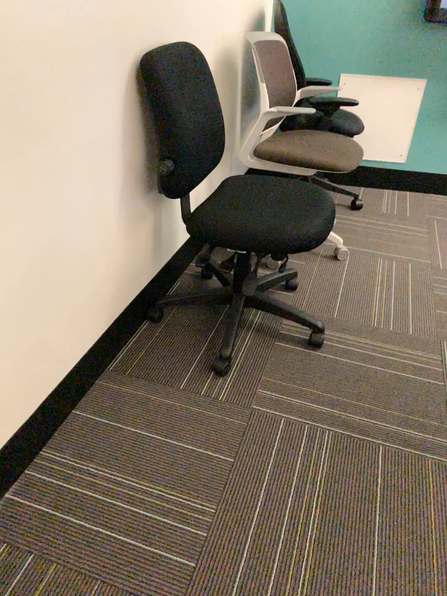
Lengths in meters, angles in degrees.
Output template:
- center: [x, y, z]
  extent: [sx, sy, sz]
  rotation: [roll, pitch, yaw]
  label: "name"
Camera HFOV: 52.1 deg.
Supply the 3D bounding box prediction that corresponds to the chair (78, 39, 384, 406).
- center: [0.064, -0.299, 1.627]
  extent: [0.741, 0.994, 0.683]
  rotation: [12, 35, 13]
  label: "chair"
